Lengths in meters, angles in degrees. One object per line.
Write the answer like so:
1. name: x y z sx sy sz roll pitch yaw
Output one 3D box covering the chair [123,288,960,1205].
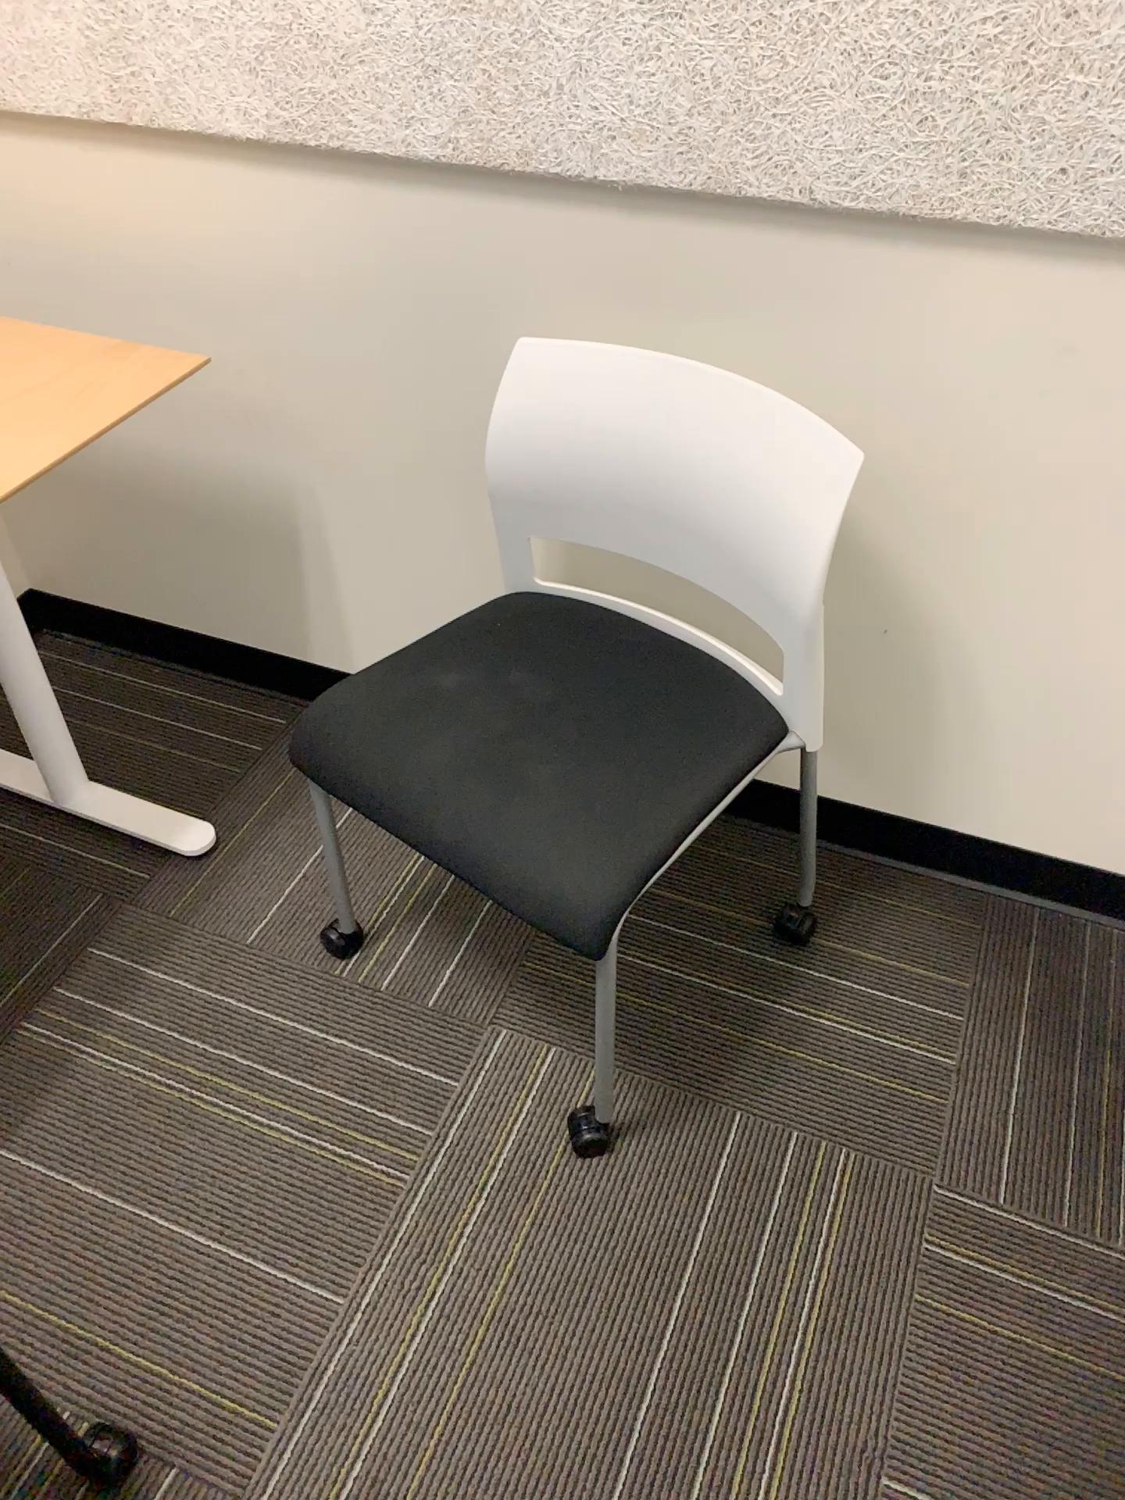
1. chair: -0.002 -0.029 1.452 0.622 0.776 0.622 26 49 27
